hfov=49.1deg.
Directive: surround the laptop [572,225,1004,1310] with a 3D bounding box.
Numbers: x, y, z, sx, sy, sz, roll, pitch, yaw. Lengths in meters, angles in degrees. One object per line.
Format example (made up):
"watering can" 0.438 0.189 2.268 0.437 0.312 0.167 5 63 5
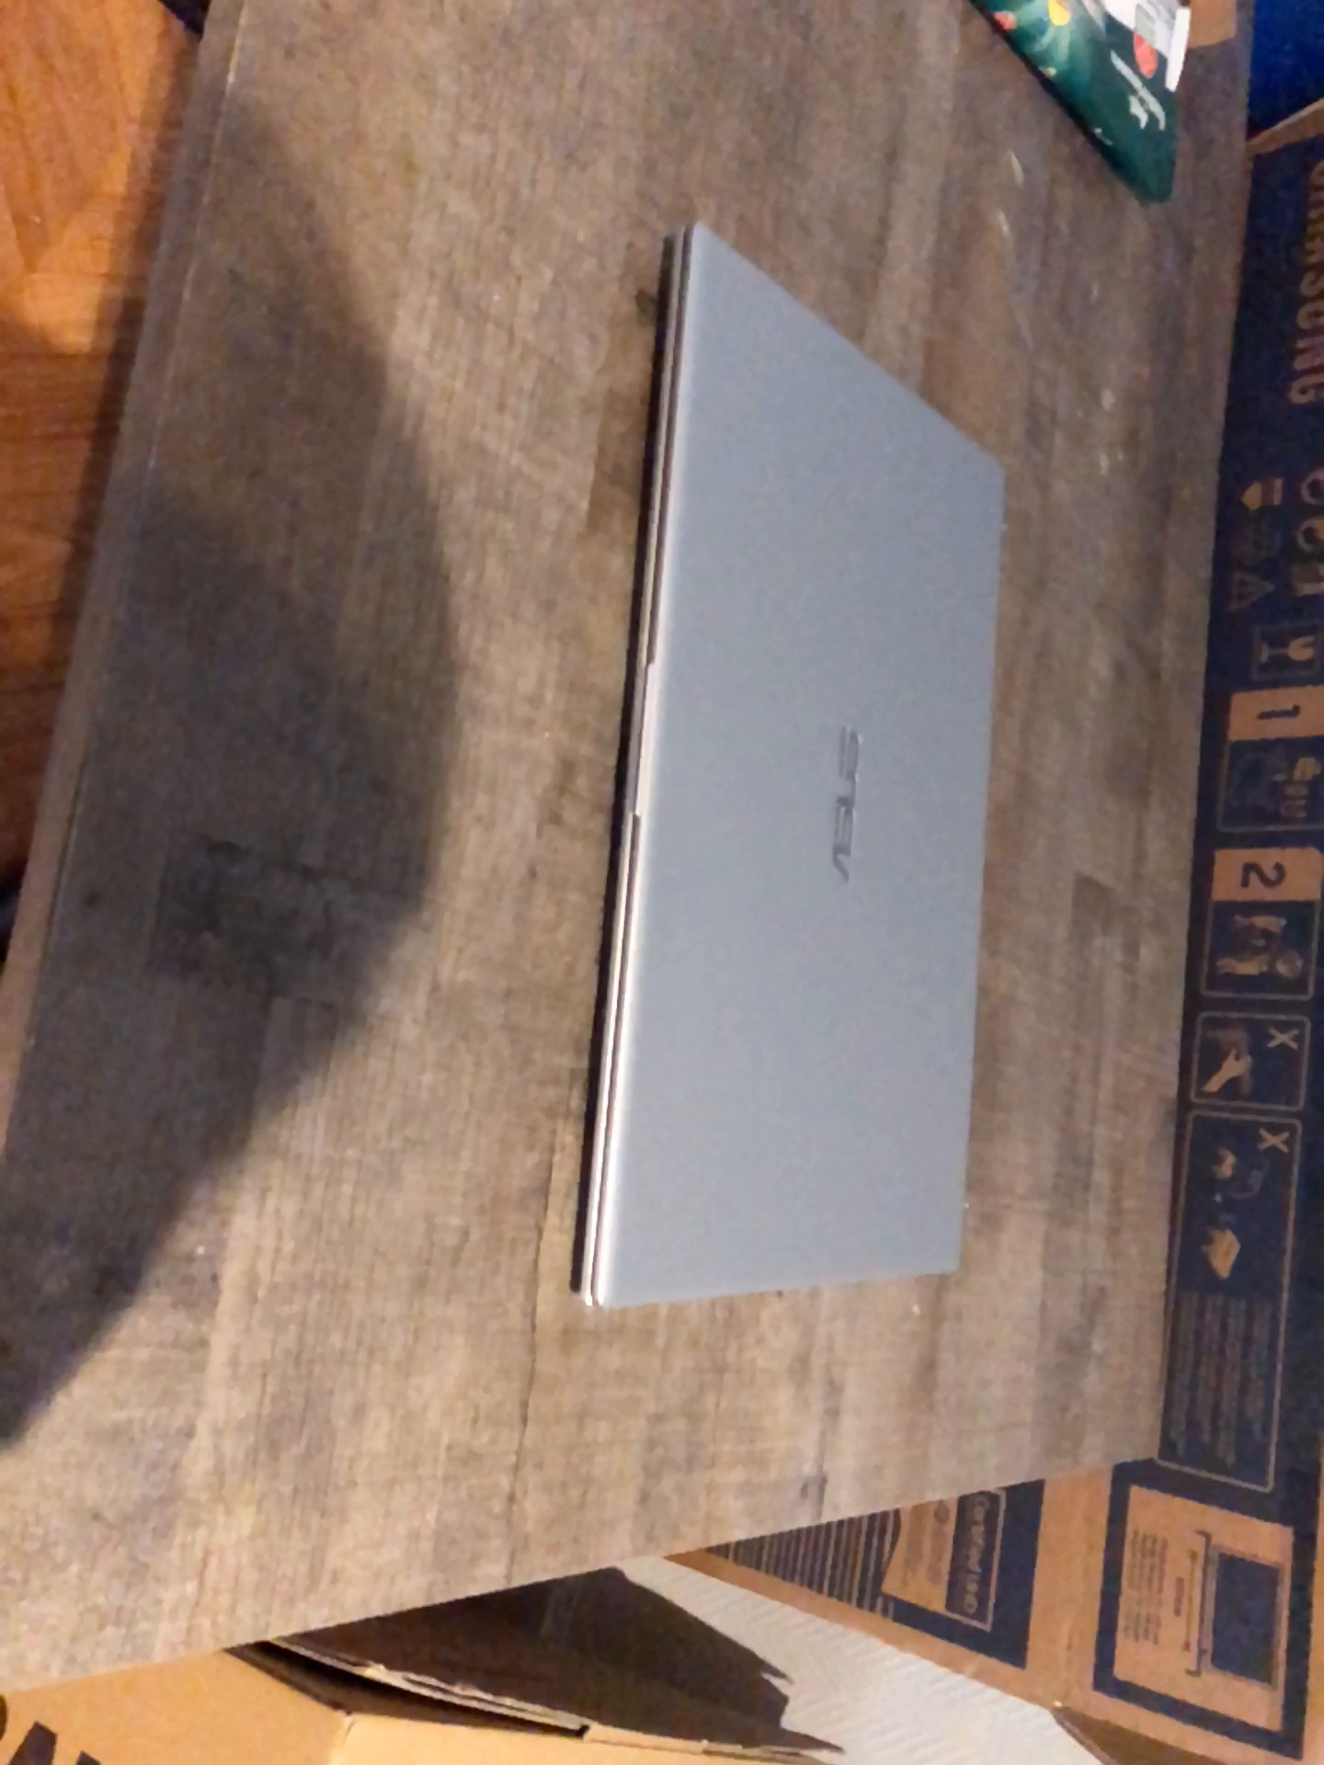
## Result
"laptop" 0.063 -0.027 0.554 0.229 0.013 0.353 12 80 -50
